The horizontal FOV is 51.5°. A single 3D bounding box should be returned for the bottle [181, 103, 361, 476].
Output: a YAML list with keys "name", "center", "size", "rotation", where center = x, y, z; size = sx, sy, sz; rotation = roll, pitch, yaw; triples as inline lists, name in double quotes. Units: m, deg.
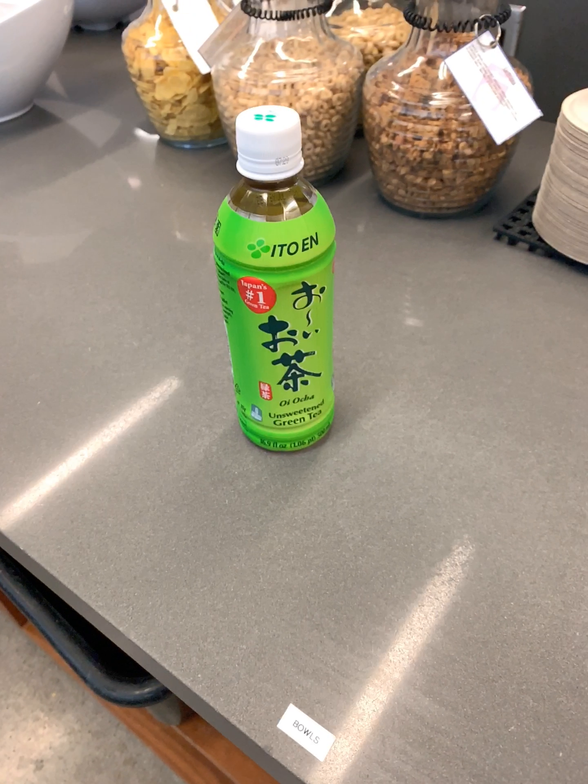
- name: "bottle"
  center: [-0.010, -0.047, 0.354]
  size: [0.070, 0.199, 0.070]
  rotation: [-2, 45, 2]
